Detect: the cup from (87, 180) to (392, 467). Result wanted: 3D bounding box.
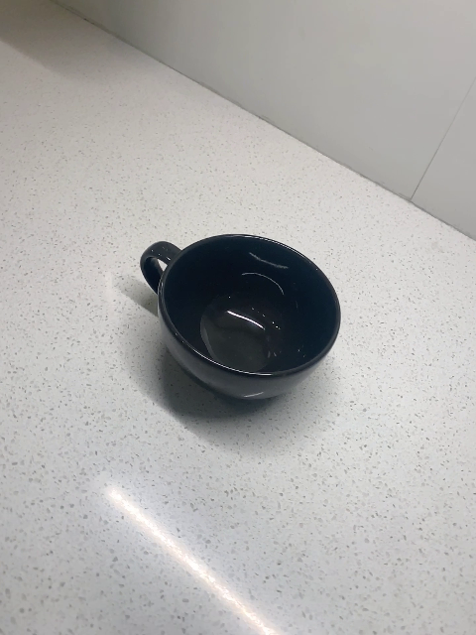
[{"bbox_3d":[0.000,-0.004,0.294,0.130,0.060,0.110,36,54,17],"label":"cup"}]
